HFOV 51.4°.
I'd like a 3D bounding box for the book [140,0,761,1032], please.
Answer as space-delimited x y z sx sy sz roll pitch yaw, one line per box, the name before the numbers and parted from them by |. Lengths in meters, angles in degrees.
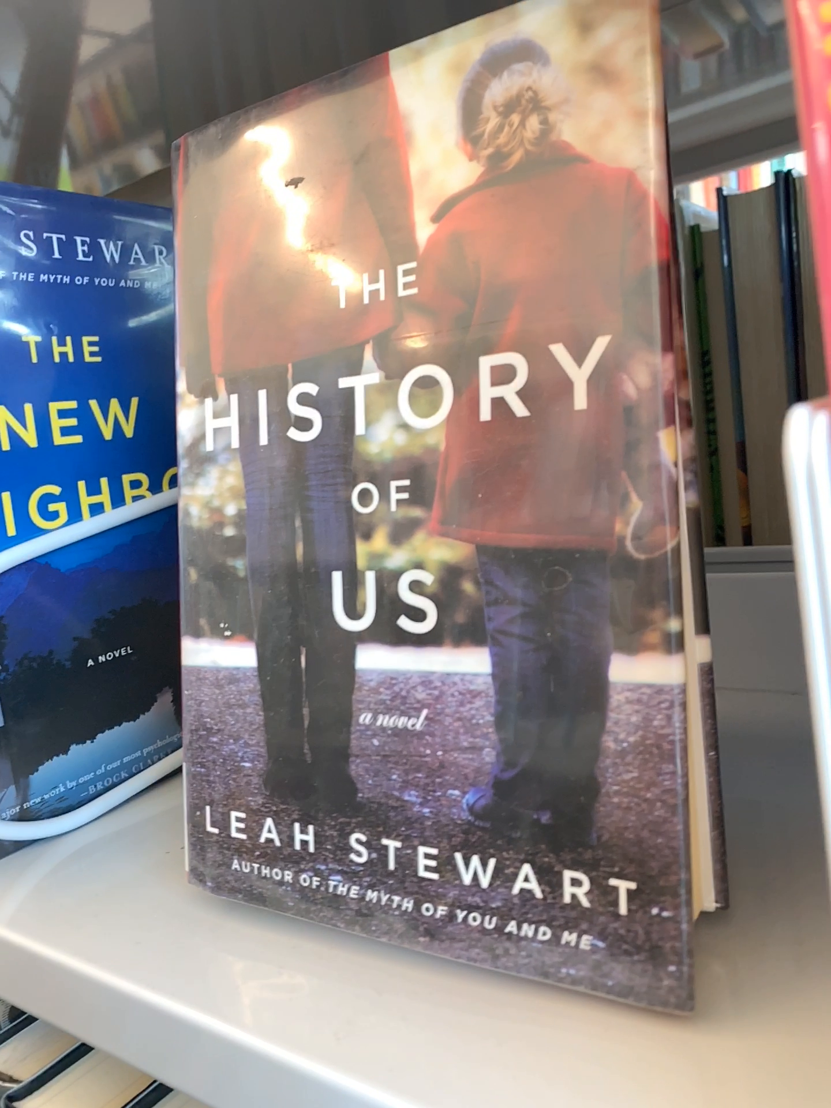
book | -0.001 -0.016 0.227 0.153 0.220 0.040 -4 -1 35
